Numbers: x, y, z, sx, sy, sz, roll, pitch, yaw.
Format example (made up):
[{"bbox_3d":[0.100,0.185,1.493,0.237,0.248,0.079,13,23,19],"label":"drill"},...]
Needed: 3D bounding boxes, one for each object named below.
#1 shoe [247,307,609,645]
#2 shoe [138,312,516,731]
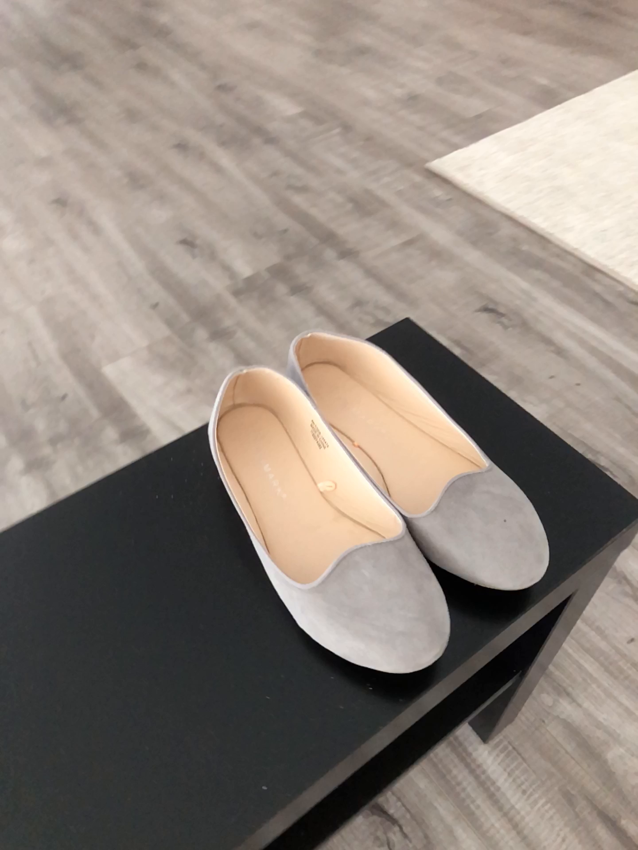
[{"bbox_3d":[0.063,0.022,0.504,0.100,0.060,0.251,-31,55,-24],"label":"shoe"},{"bbox_3d":[-0.009,0.047,0.458,0.100,0.090,0.254,-28,54,-22],"label":"shoe"}]
